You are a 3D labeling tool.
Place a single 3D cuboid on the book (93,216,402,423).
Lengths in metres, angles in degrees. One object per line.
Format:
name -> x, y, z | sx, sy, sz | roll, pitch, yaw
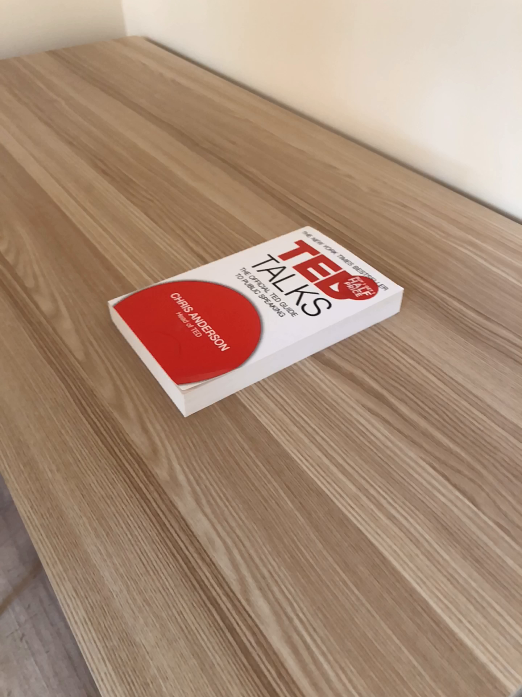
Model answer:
book -> -0.010, -0.039, 0.493 | 0.221, 0.030, 0.138 | -25, 48, -24
